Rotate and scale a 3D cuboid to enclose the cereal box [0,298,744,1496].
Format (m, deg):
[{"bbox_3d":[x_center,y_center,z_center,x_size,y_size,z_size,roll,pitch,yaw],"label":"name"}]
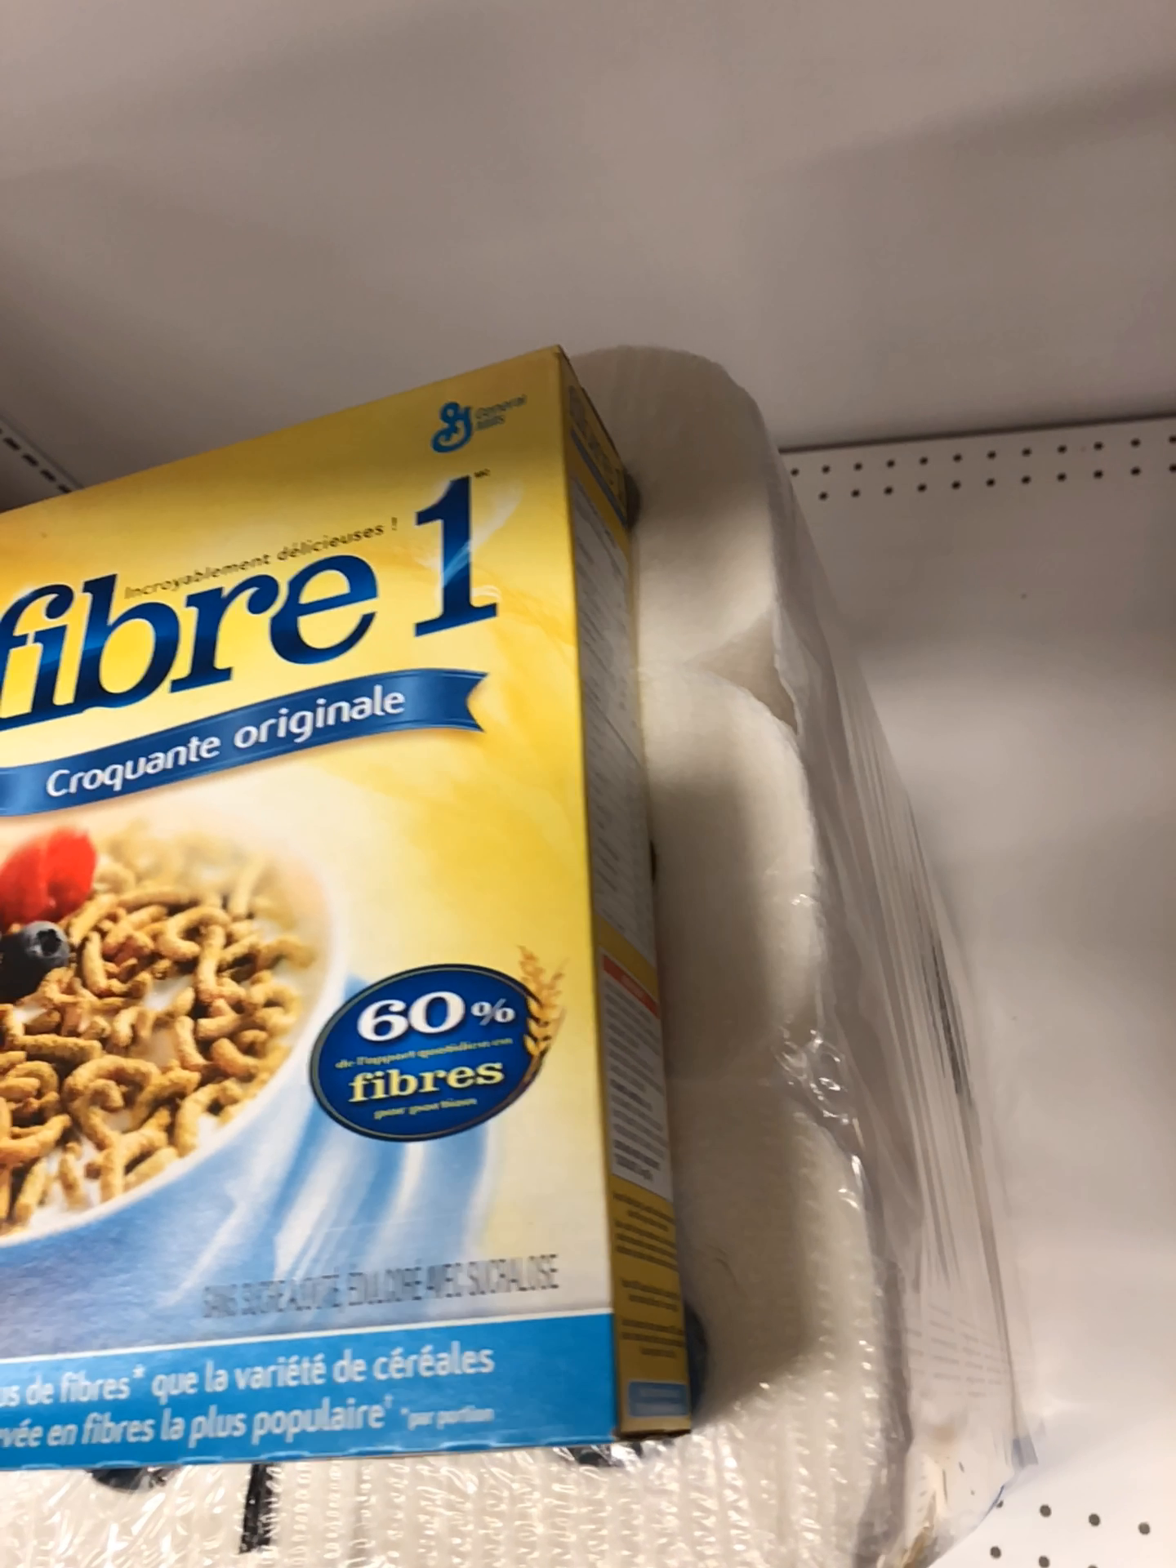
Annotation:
[{"bbox_3d":[-0.079,0.027,0.330,0.200,0.060,0.260,-11,65,17],"label":"cereal box"}]
